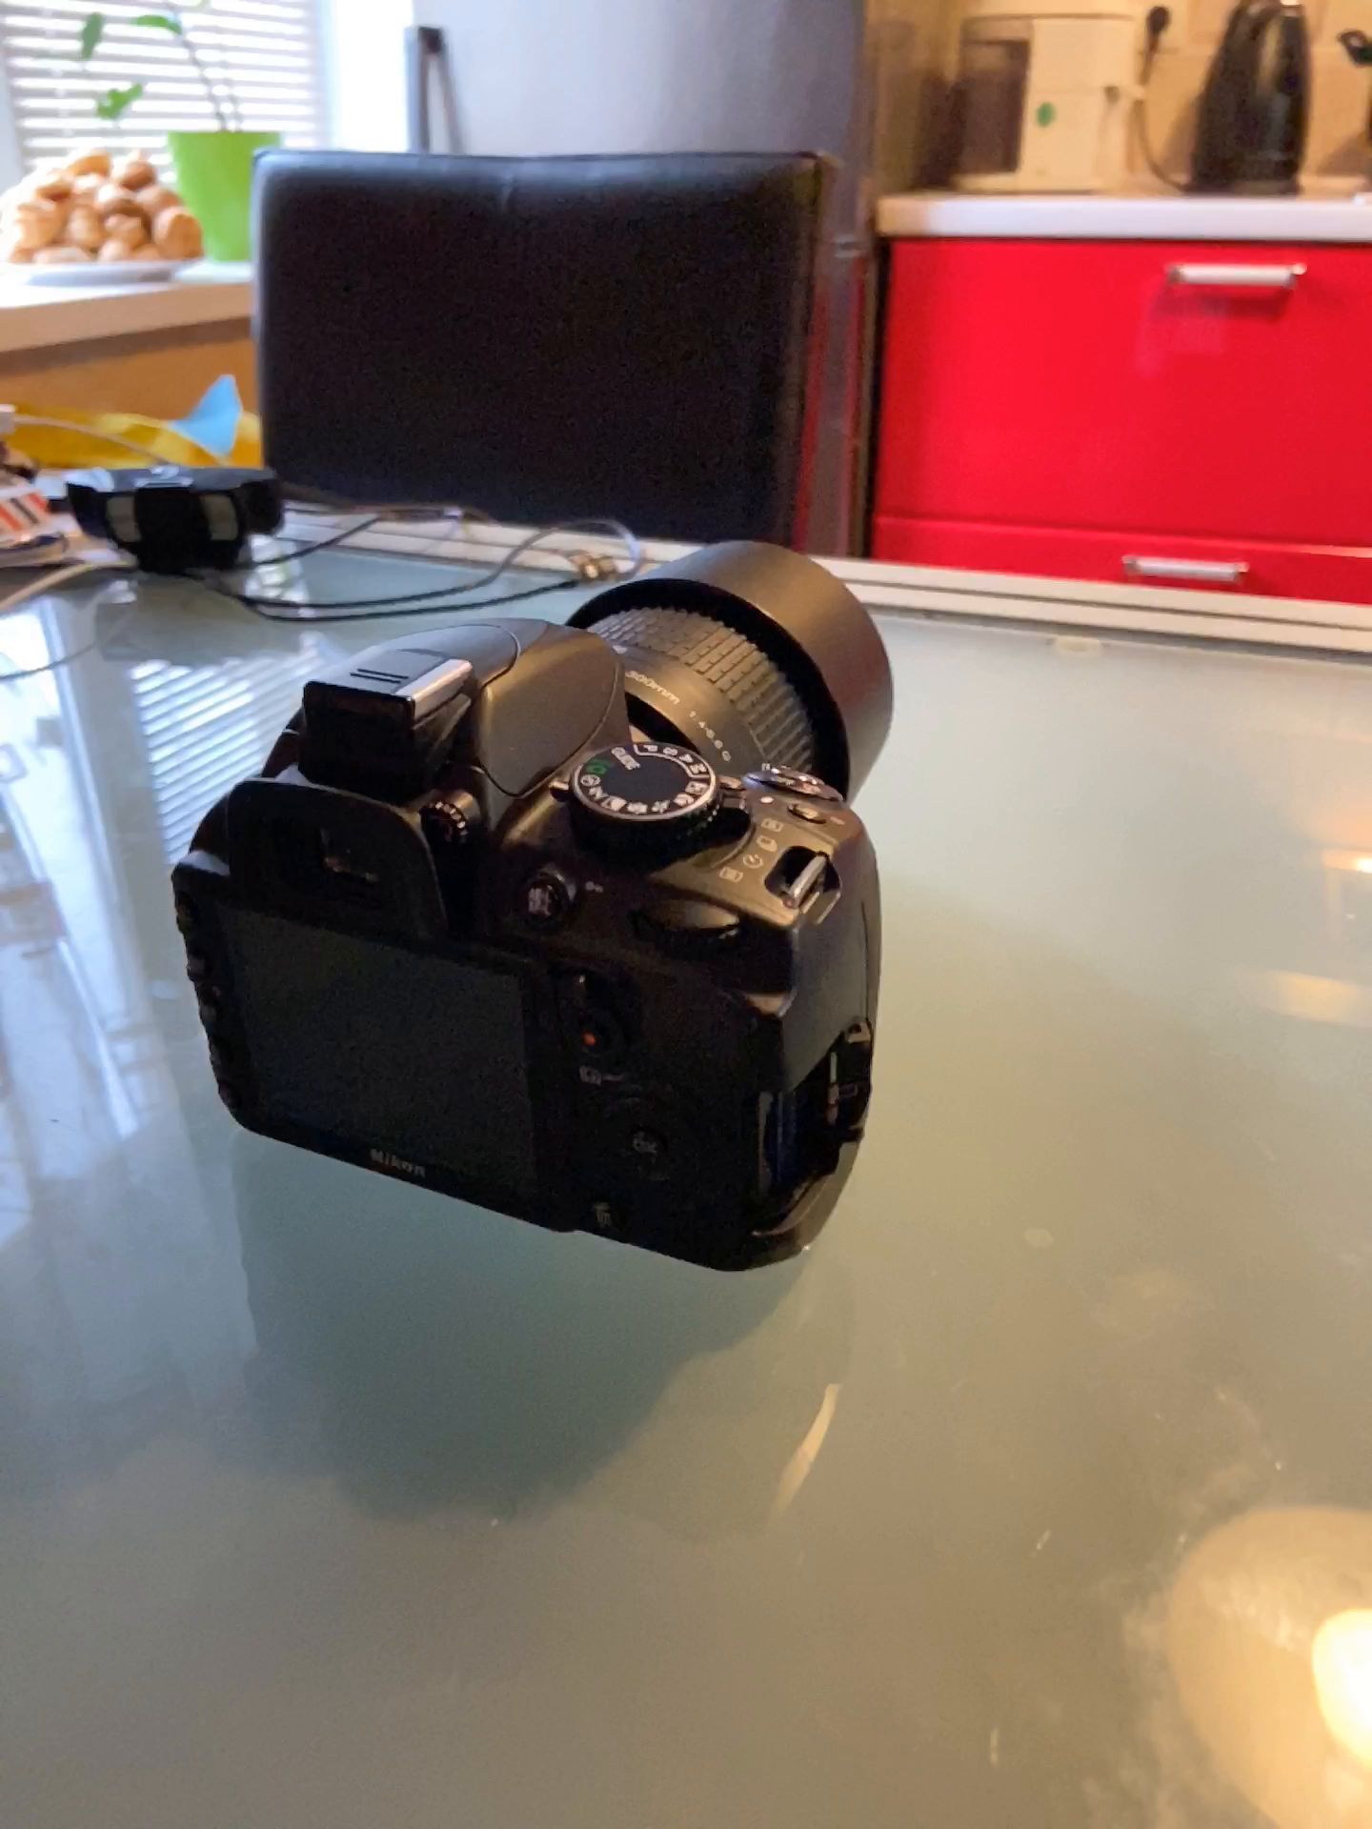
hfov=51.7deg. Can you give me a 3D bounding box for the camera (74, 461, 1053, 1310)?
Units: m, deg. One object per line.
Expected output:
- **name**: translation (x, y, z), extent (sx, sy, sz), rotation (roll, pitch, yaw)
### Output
- **camera**: translation (-0.006, -0.029, 0.309), extent (0.124, 0.094, 0.189), rotation (12, 30, 21)
